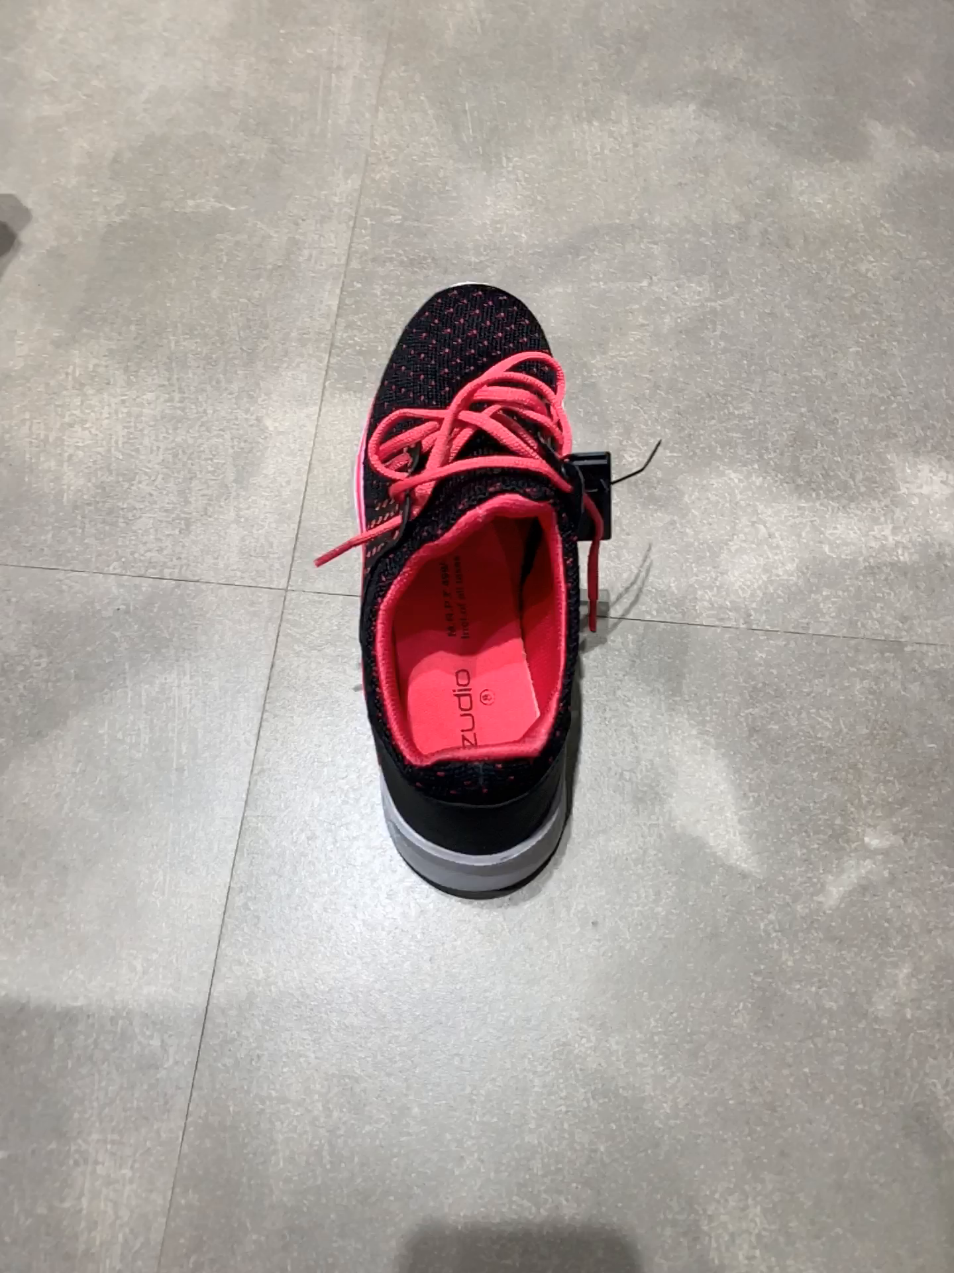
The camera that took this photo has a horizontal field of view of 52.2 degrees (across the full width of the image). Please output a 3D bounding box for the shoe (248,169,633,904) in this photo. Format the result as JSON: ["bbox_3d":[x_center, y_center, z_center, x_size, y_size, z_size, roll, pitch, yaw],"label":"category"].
[{"bbox_3d":[-0.012,-0.039,0.379,0.110,0.110,0.263,-1,67,0],"label":"shoe"}]
